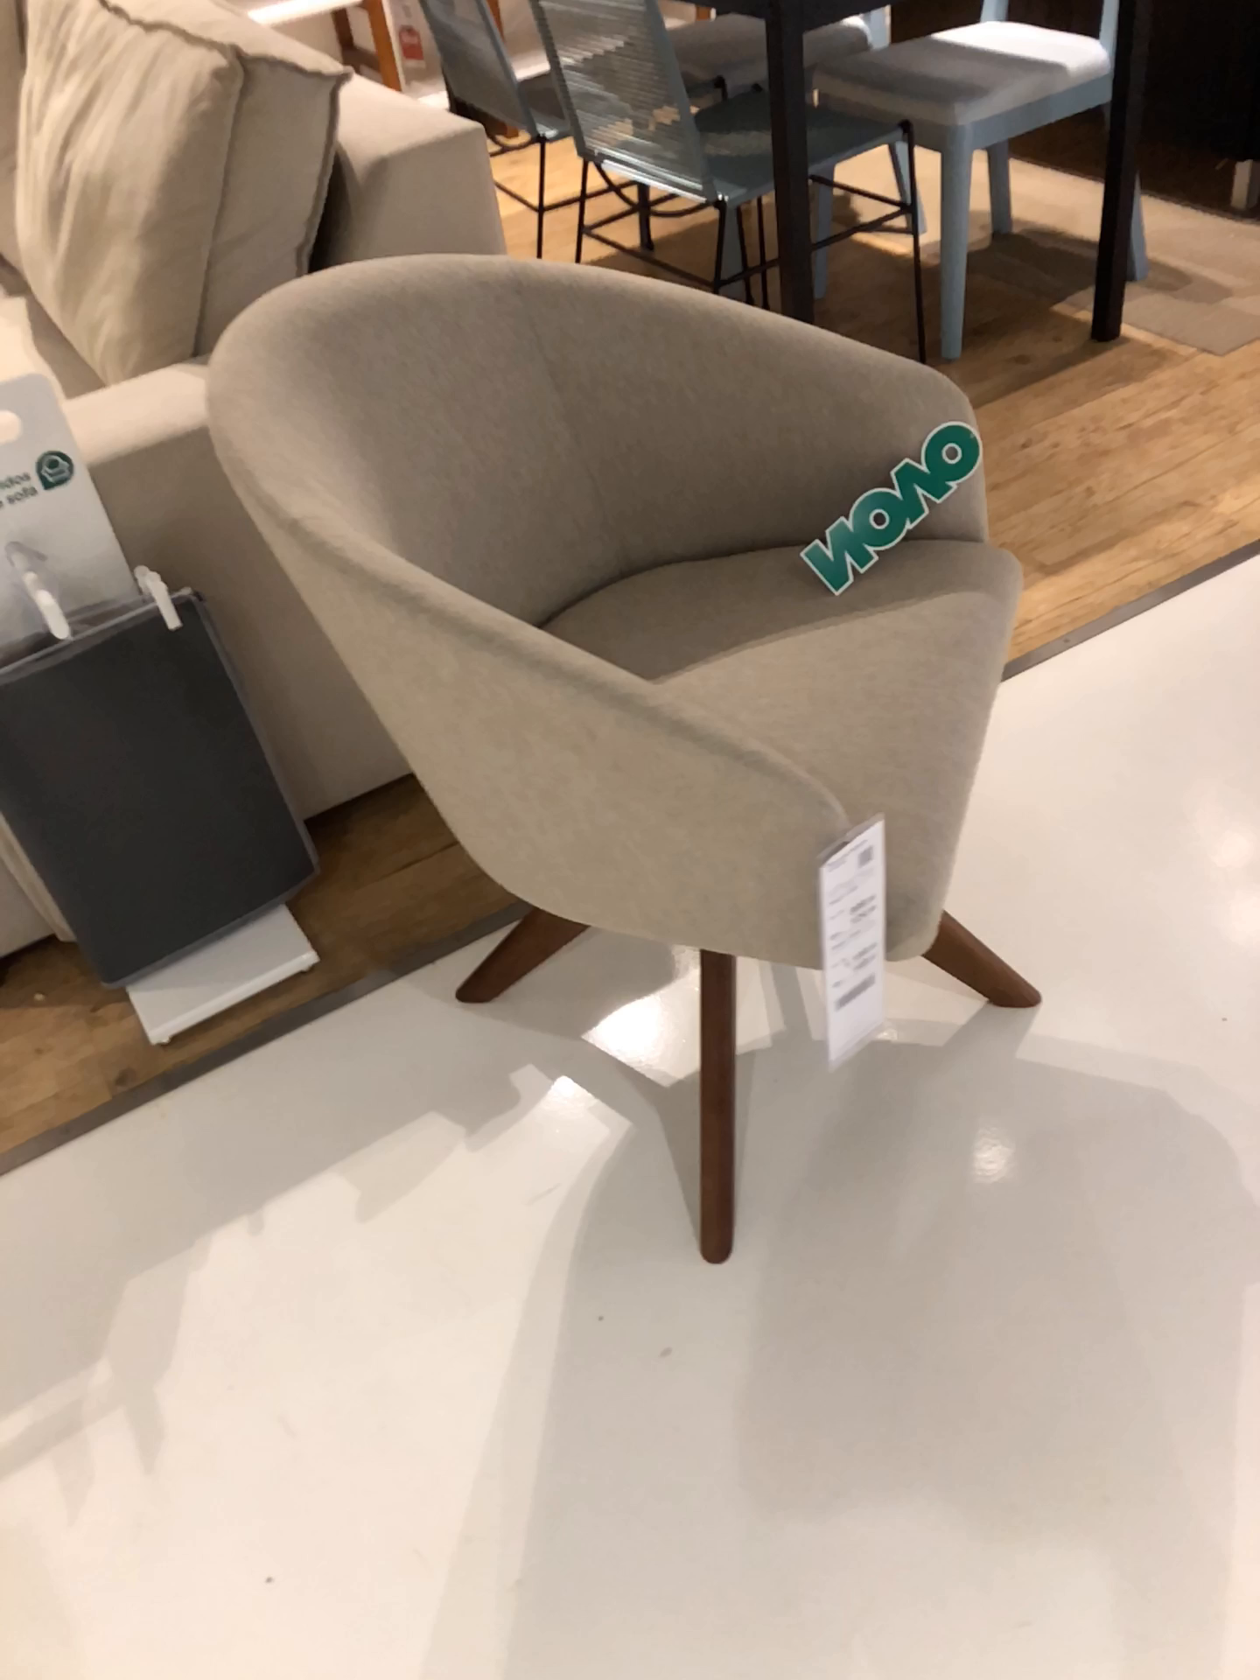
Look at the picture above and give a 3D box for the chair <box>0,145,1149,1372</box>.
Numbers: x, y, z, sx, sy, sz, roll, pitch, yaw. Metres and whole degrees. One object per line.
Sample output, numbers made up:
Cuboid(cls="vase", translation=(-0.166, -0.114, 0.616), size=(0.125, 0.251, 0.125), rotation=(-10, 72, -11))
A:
Cuboid(cls="chair", translation=(0.040, -0.104, 1.299), size=(0.711, 0.794, 0.694), rotation=(8, 44, 19))
